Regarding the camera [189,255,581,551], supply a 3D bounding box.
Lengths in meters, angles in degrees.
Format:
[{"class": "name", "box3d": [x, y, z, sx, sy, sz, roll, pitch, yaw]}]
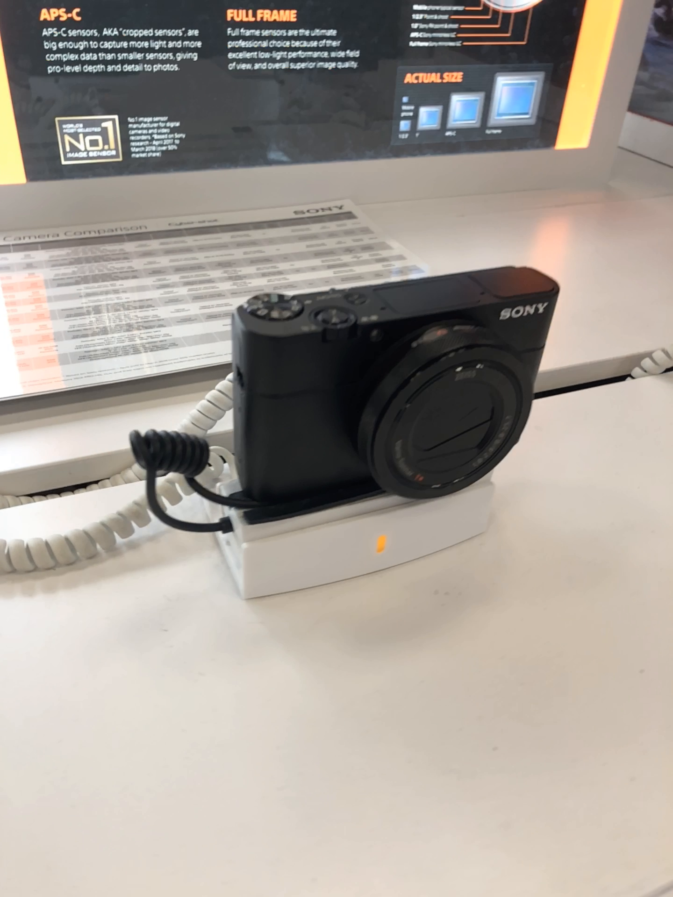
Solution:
[{"class": "camera", "box3d": [0.013, -0.016, 0.234, 0.110, 0.070, 0.030, -12, 44, -22]}]
